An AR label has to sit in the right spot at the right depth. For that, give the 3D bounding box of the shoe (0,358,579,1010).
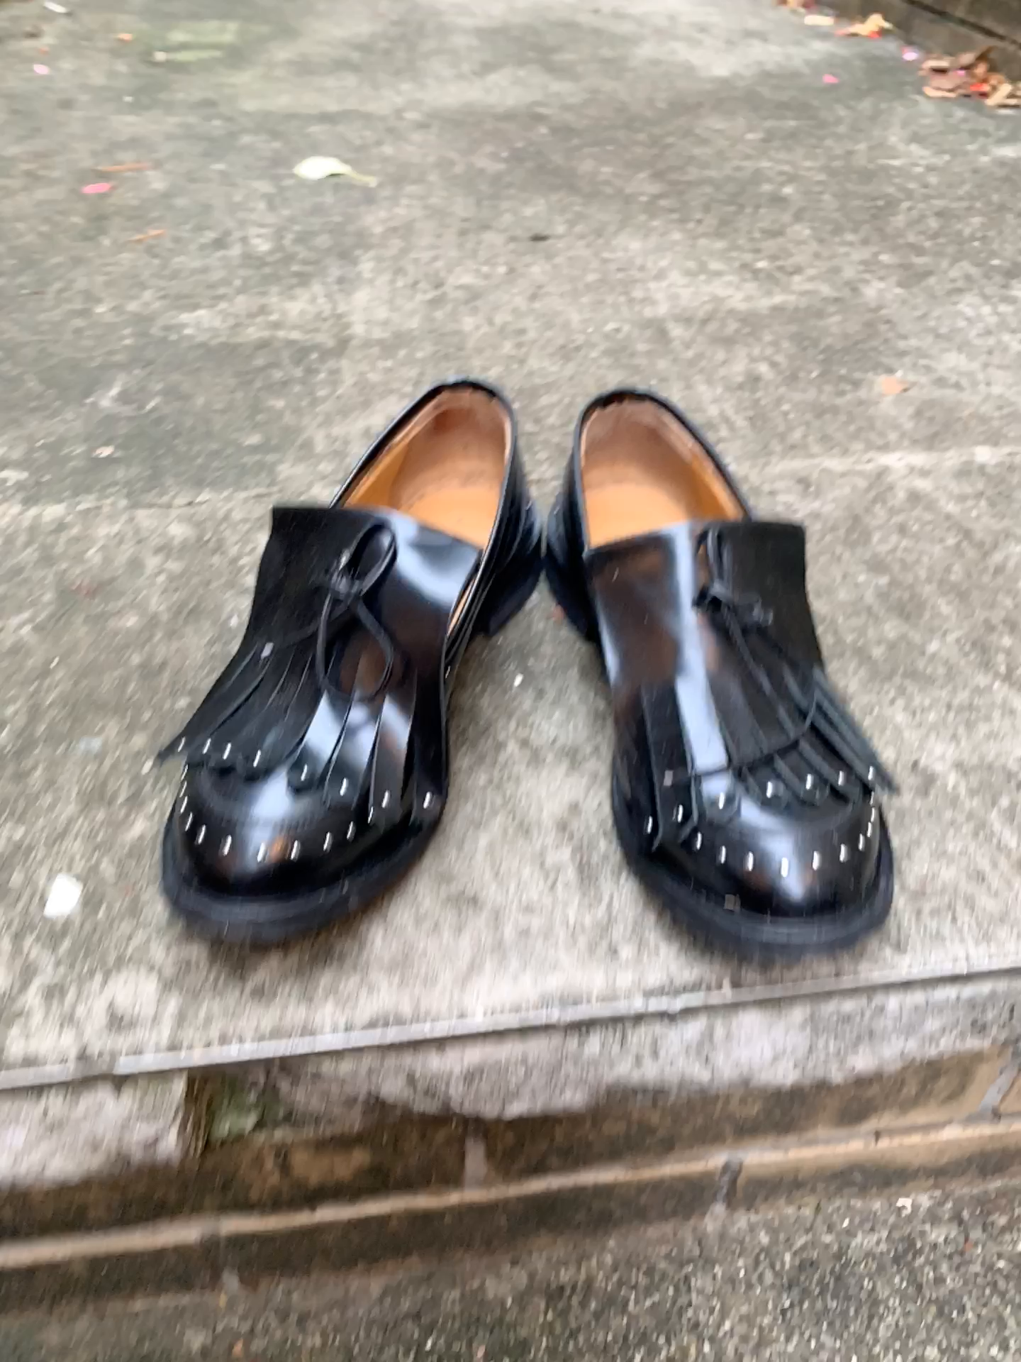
[{"bbox_3d":[-0.052,-0.022,0.376,0.094,0.080,0.248,10,42,13],"label":"shoe"}]

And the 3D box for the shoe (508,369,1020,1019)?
[{"bbox_3d":[0.067,-0.018,0.376,0.093,0.080,0.250,-5,41,-8],"label":"shoe"}]
